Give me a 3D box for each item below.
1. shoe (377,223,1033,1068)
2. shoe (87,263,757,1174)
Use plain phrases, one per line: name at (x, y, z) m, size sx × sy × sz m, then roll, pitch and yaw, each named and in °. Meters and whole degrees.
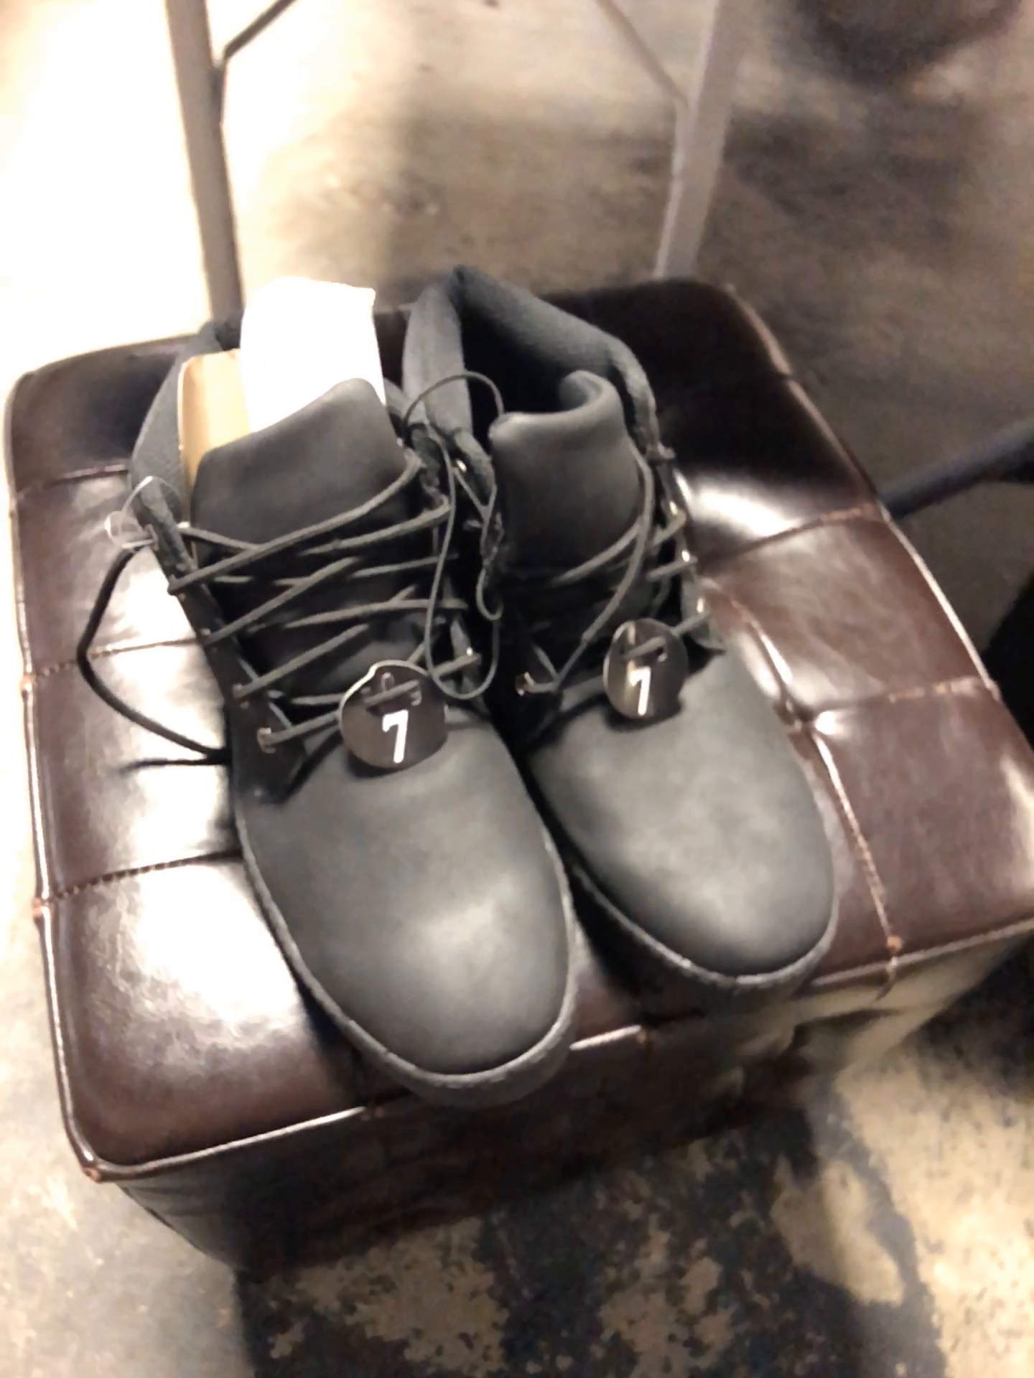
shoe at (0.042, -0.018, 0.380) m, size 0.100 × 0.139 × 0.221 m, roll -19°, pitch 61°, yaw -18°
shoe at (-0.047, 0.003, 0.393) m, size 0.100 × 0.139 × 0.261 m, roll -19°, pitch 61°, yaw -18°
